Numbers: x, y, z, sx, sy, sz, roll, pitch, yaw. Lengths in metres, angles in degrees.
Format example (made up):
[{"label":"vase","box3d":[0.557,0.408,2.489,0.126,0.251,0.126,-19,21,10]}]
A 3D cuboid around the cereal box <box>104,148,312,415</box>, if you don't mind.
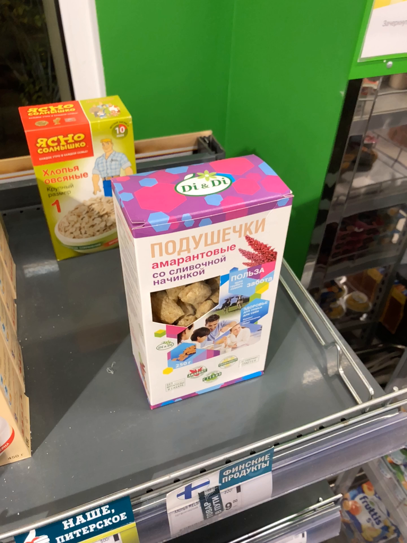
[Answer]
[{"label":"cereal box","box3d":[-0.001,0.018,0.422,0.140,0.229,0.080,-13,44,-16]}]
